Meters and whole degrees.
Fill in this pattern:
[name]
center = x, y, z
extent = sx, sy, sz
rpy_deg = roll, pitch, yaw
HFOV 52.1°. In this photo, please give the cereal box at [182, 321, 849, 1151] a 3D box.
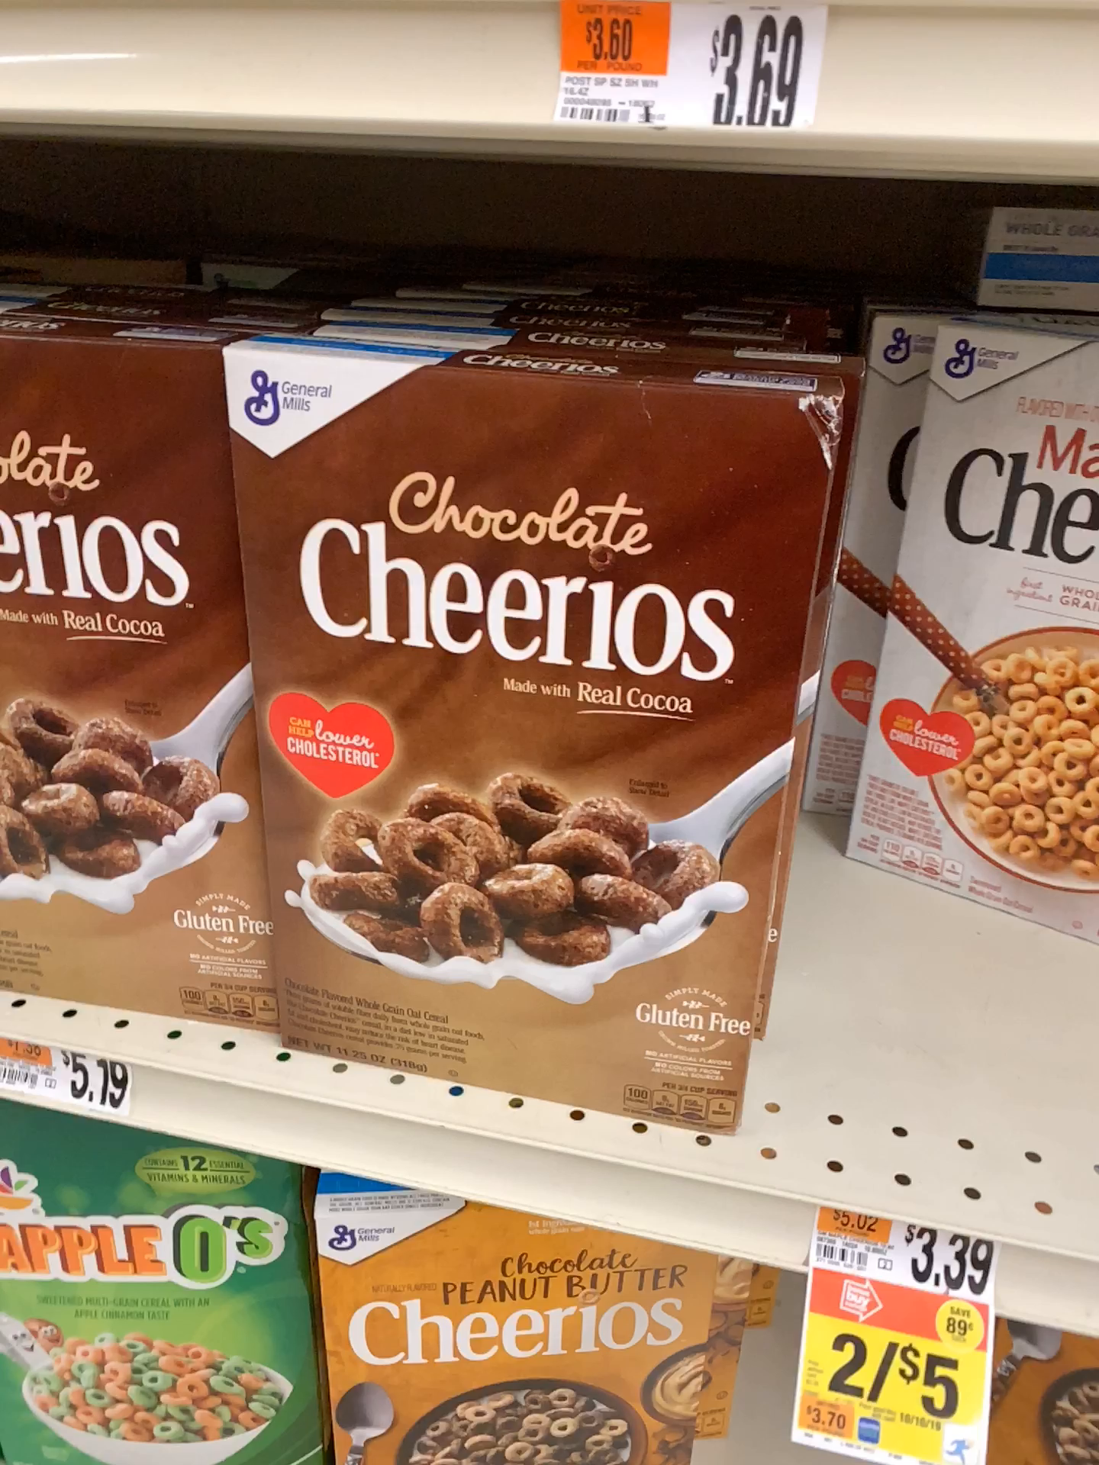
[cereal box]
center = -0.015, 0.009, 0.436
extent = 0.210, 0.298, 0.060
rpy_deg = 8, 27, 12
